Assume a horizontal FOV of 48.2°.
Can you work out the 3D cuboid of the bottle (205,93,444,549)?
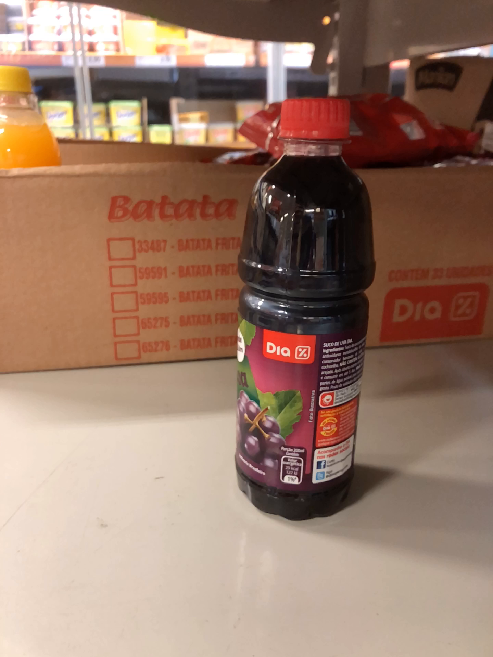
[{"bbox_3d":[0.032,-0.008,0.275,0.070,0.199,0.080,-11,23,-24],"label":"bottle"}]
